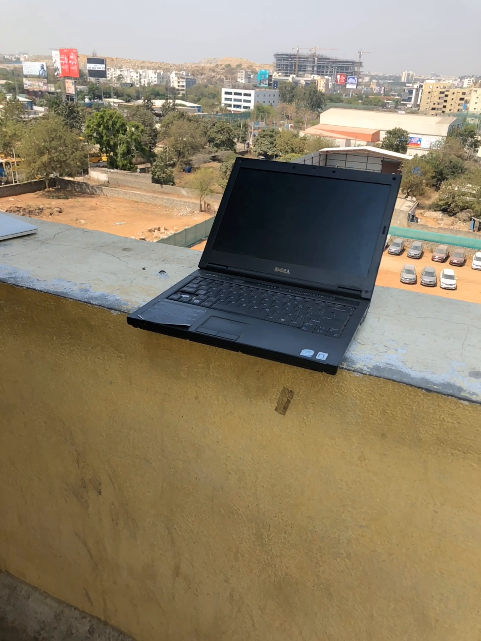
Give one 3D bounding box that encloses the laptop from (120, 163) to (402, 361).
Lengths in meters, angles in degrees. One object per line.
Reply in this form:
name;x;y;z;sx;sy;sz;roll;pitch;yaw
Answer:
laptop;0.056;-0.125;0.824;0.301;0.178;0.377;11;26;21
